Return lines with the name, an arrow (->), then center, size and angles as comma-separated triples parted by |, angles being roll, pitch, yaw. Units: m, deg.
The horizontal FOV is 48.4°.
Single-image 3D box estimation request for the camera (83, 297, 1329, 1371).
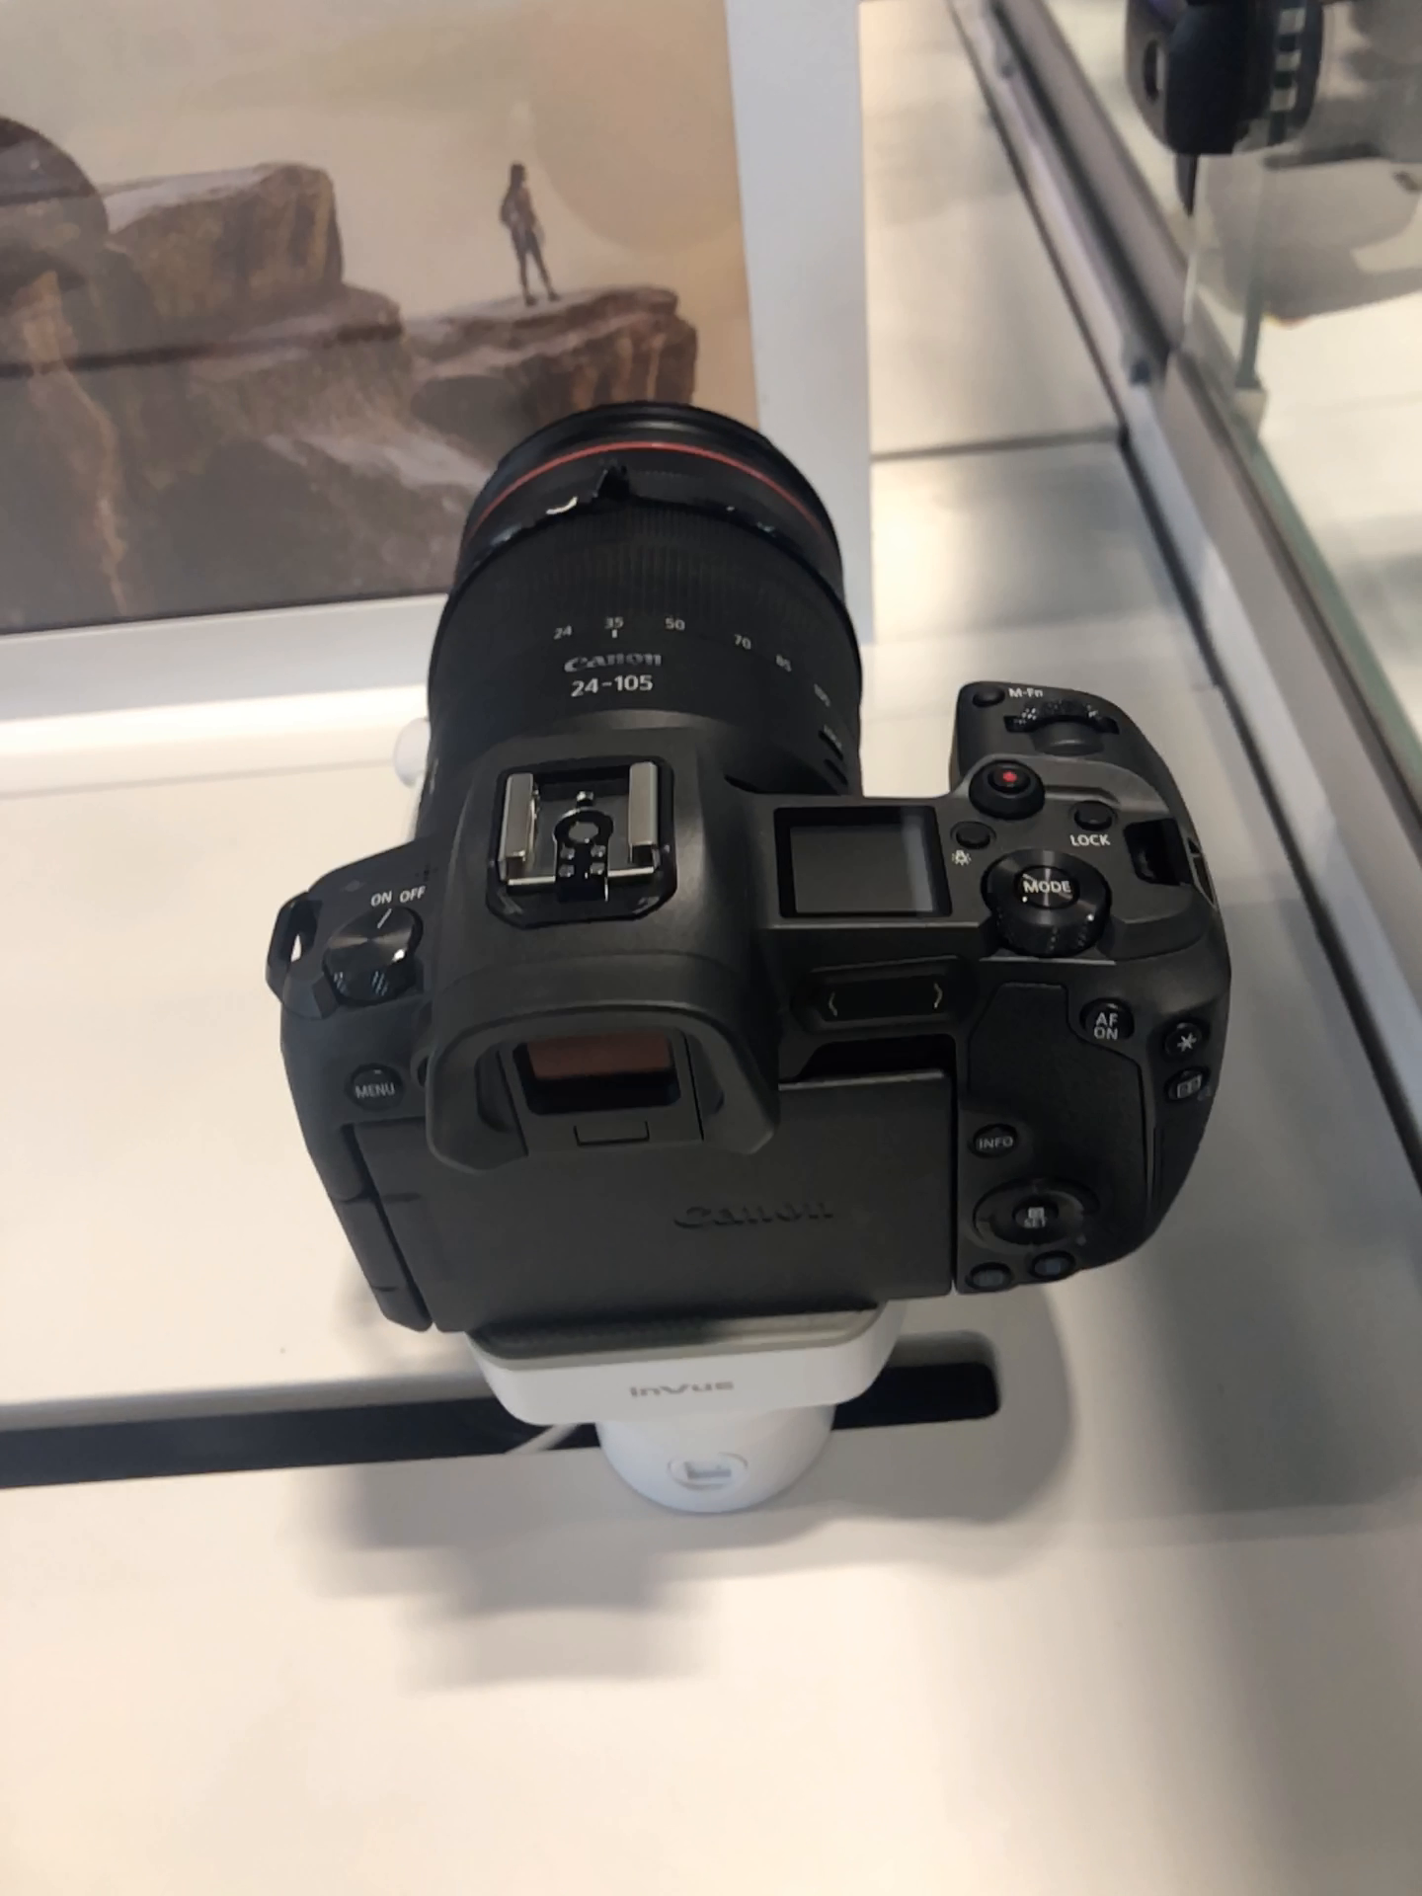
camera -> 0.000, -0.024, 0.256 | 0.139, 0.086, 0.146 | -5, 46, 3
